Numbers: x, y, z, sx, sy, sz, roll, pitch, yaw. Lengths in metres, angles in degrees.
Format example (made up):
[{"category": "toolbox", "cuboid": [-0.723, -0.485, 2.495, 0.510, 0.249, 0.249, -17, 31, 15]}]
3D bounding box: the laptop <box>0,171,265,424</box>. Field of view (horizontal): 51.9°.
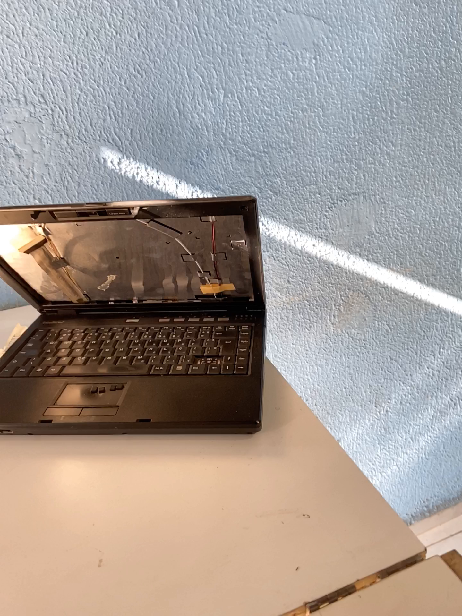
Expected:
[{"category": "laptop", "cuboid": [-0.131, -0.025, 0.530, 0.322, 0.191, 0.232, -1, 26, 6]}]
